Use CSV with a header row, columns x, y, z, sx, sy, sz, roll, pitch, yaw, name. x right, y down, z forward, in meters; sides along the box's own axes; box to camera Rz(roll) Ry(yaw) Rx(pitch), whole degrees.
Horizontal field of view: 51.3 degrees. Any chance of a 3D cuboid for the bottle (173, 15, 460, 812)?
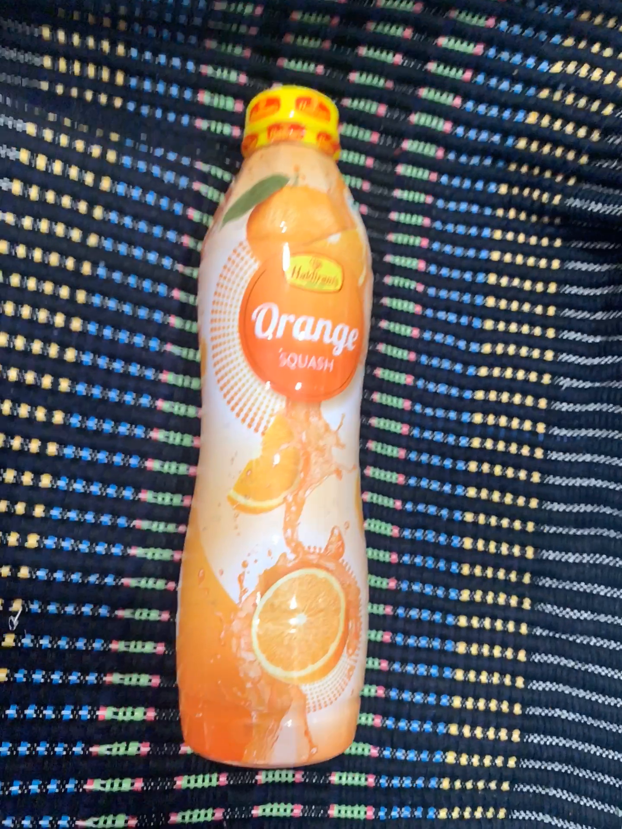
x,y,z,sx,sy,sz,roll,pitch,yaw,name
0.003,-0.006,0.241,0.080,0.060,0.250,6,78,-20,bottle
